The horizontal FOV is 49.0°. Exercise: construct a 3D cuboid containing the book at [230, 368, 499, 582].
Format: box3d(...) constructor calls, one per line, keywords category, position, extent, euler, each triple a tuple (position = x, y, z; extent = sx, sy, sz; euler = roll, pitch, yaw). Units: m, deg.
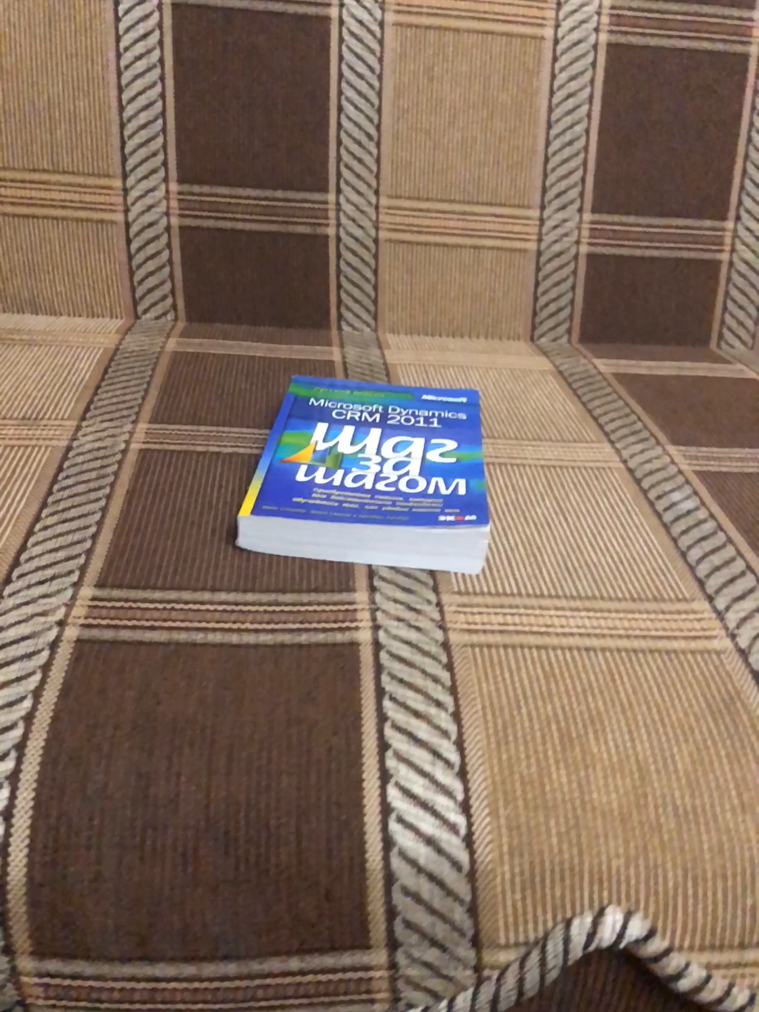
box3d(category="book", position=(-0.003, -0.031, 0.558), extent=(0.150, 0.033, 0.201), euler=(5, 32, 1))
